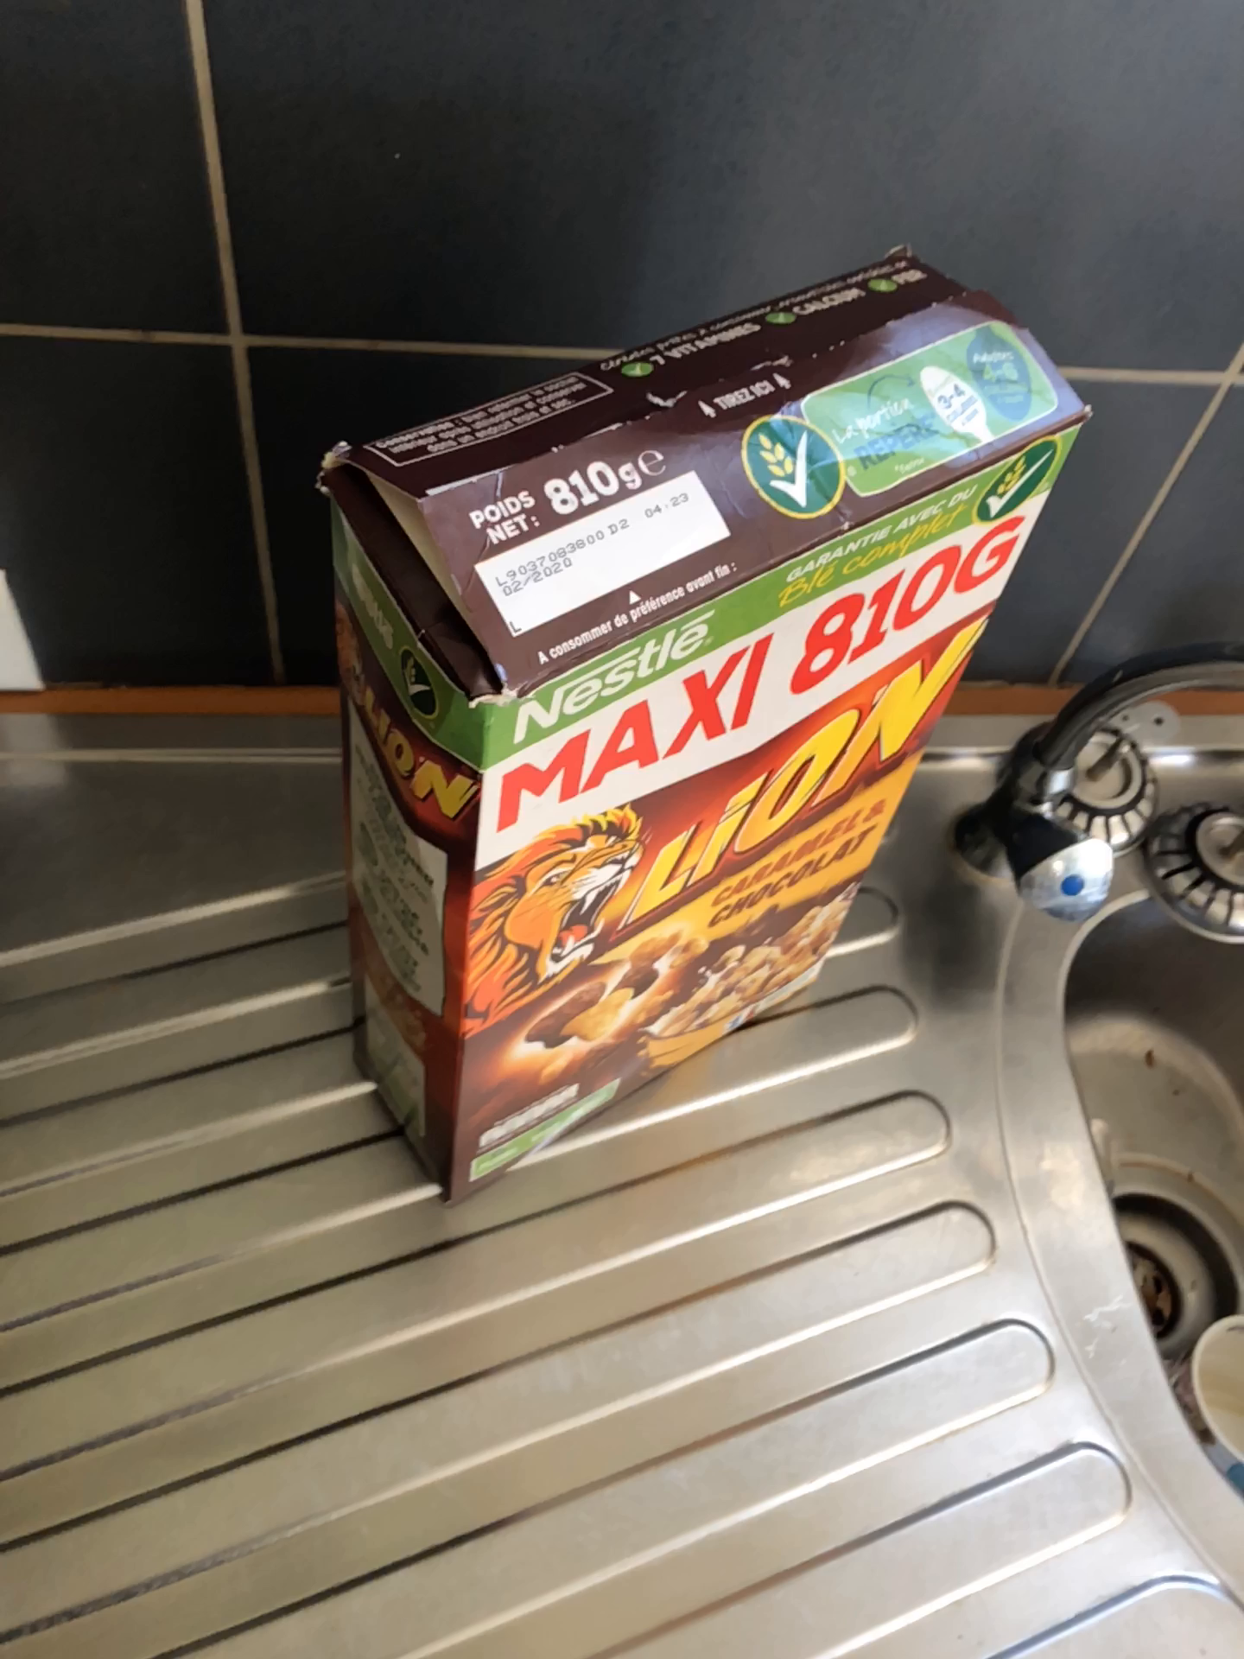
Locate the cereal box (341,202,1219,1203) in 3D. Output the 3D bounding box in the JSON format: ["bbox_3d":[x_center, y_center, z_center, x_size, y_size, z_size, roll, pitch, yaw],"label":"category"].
[{"bbox_3d":[0.024,-0.014,0.451,0.201,0.318,0.080,-26,64,-23],"label":"cereal box"}]
